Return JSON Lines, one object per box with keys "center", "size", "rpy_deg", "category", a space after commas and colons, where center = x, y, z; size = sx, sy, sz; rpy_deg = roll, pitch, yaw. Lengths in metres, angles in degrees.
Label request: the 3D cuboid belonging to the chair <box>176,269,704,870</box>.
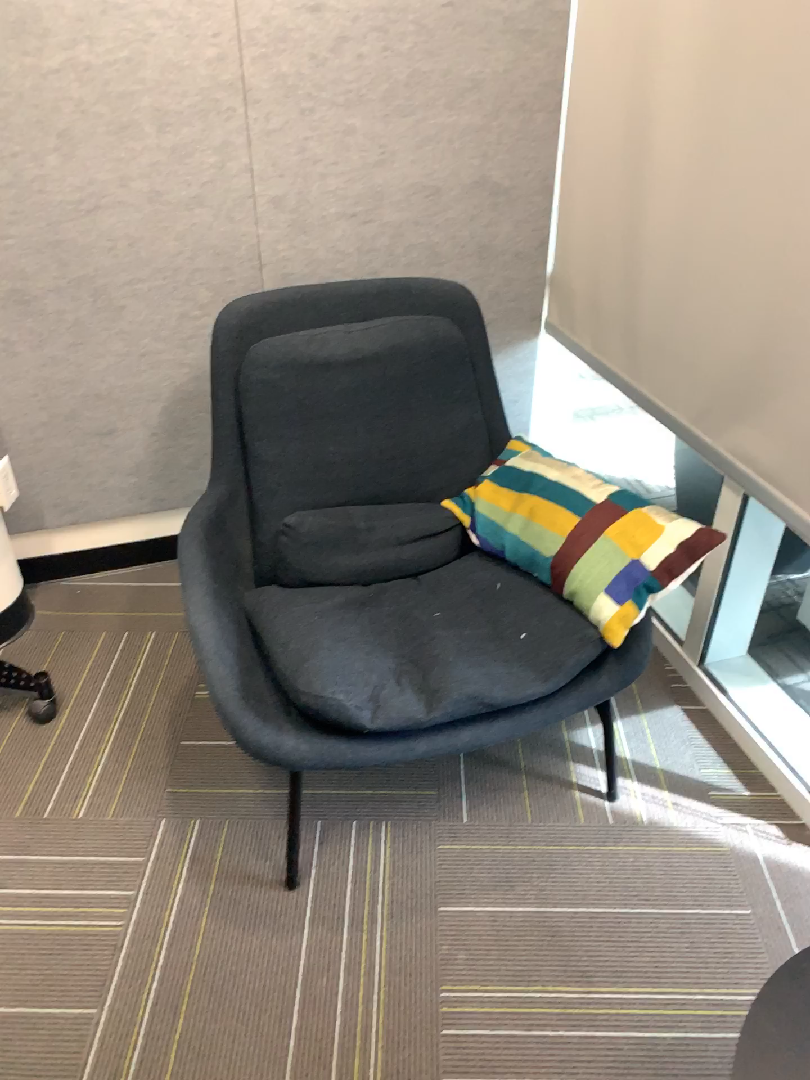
{"center": [-0.030, -0.024, 1.837], "size": [0.790, 0.815, 1.006], "rpy_deg": [-6, 35, -10], "category": "chair"}
